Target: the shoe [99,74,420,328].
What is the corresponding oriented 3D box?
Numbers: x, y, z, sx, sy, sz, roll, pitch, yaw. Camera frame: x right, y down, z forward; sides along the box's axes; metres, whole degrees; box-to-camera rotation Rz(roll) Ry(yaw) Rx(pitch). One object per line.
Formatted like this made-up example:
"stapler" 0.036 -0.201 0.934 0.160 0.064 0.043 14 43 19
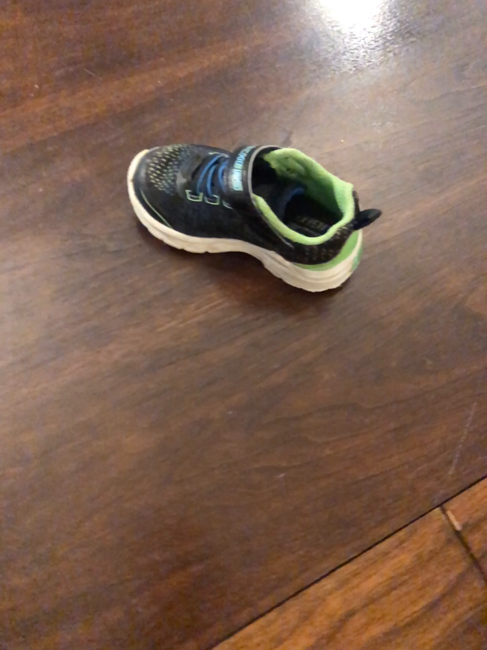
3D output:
"shoe" 0.009 -0.076 0.350 0.170 0.080 0.080 20 68 3
